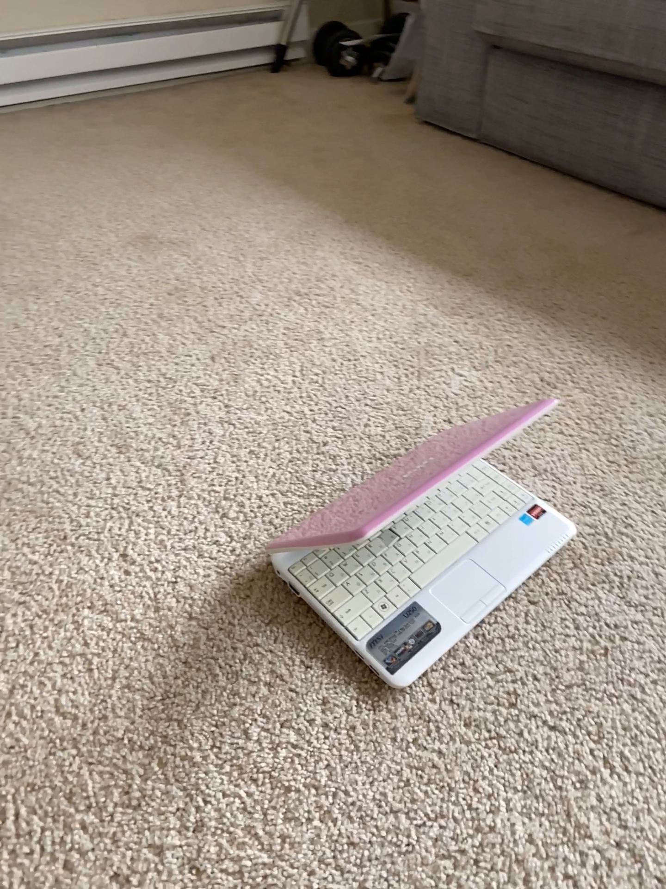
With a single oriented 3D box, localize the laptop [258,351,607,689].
[{"bbox_3d":[0.102,0.056,0.690,0.290,0.125,0.193,-30,52,-31],"label":"laptop"}]
